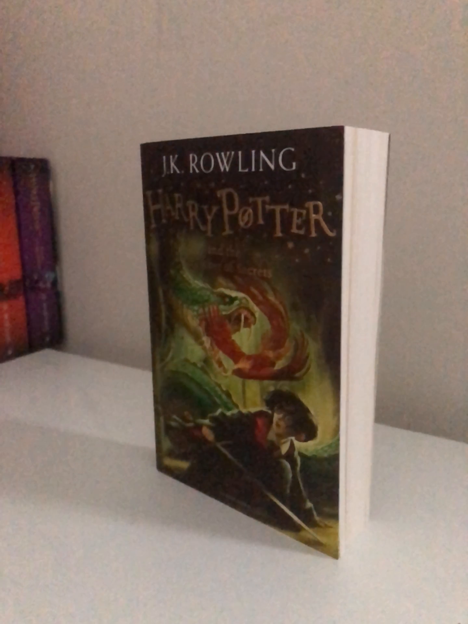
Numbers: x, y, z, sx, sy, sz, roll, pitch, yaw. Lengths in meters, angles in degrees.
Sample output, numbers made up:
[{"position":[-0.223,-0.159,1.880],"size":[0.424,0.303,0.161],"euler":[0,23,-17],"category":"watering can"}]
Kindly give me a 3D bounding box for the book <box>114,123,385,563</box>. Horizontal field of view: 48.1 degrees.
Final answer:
[{"position":[0.005,0.009,0.269],"size":[0.130,0.190,0.039],"euler":[11,21,39],"category":"book"}]
